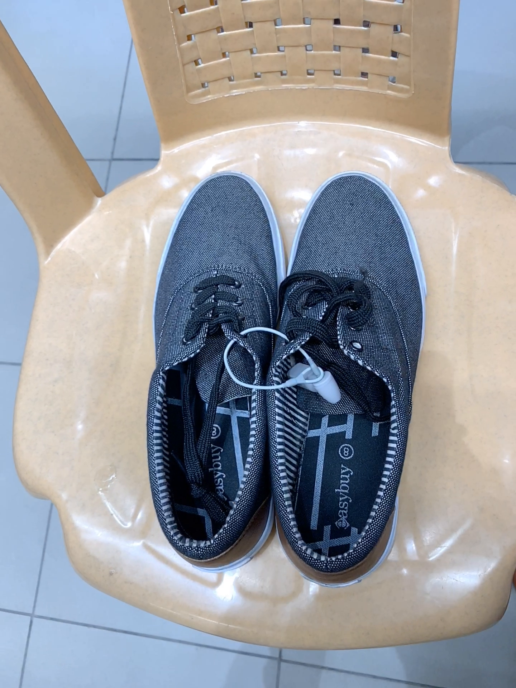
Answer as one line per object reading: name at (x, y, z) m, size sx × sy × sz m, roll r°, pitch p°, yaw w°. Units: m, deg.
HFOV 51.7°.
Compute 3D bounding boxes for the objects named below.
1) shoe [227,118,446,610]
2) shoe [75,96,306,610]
shoe at (0.054, 0.009, 0.351) m, size 0.110 × 0.110 × 0.270 m, roll 1°, pitch 78°, yaw 11°
shoe at (-0.031, 0.005, 0.325) m, size 0.100 × 0.110 × 0.260 m, roll -3°, pitch 77°, yaw 10°
